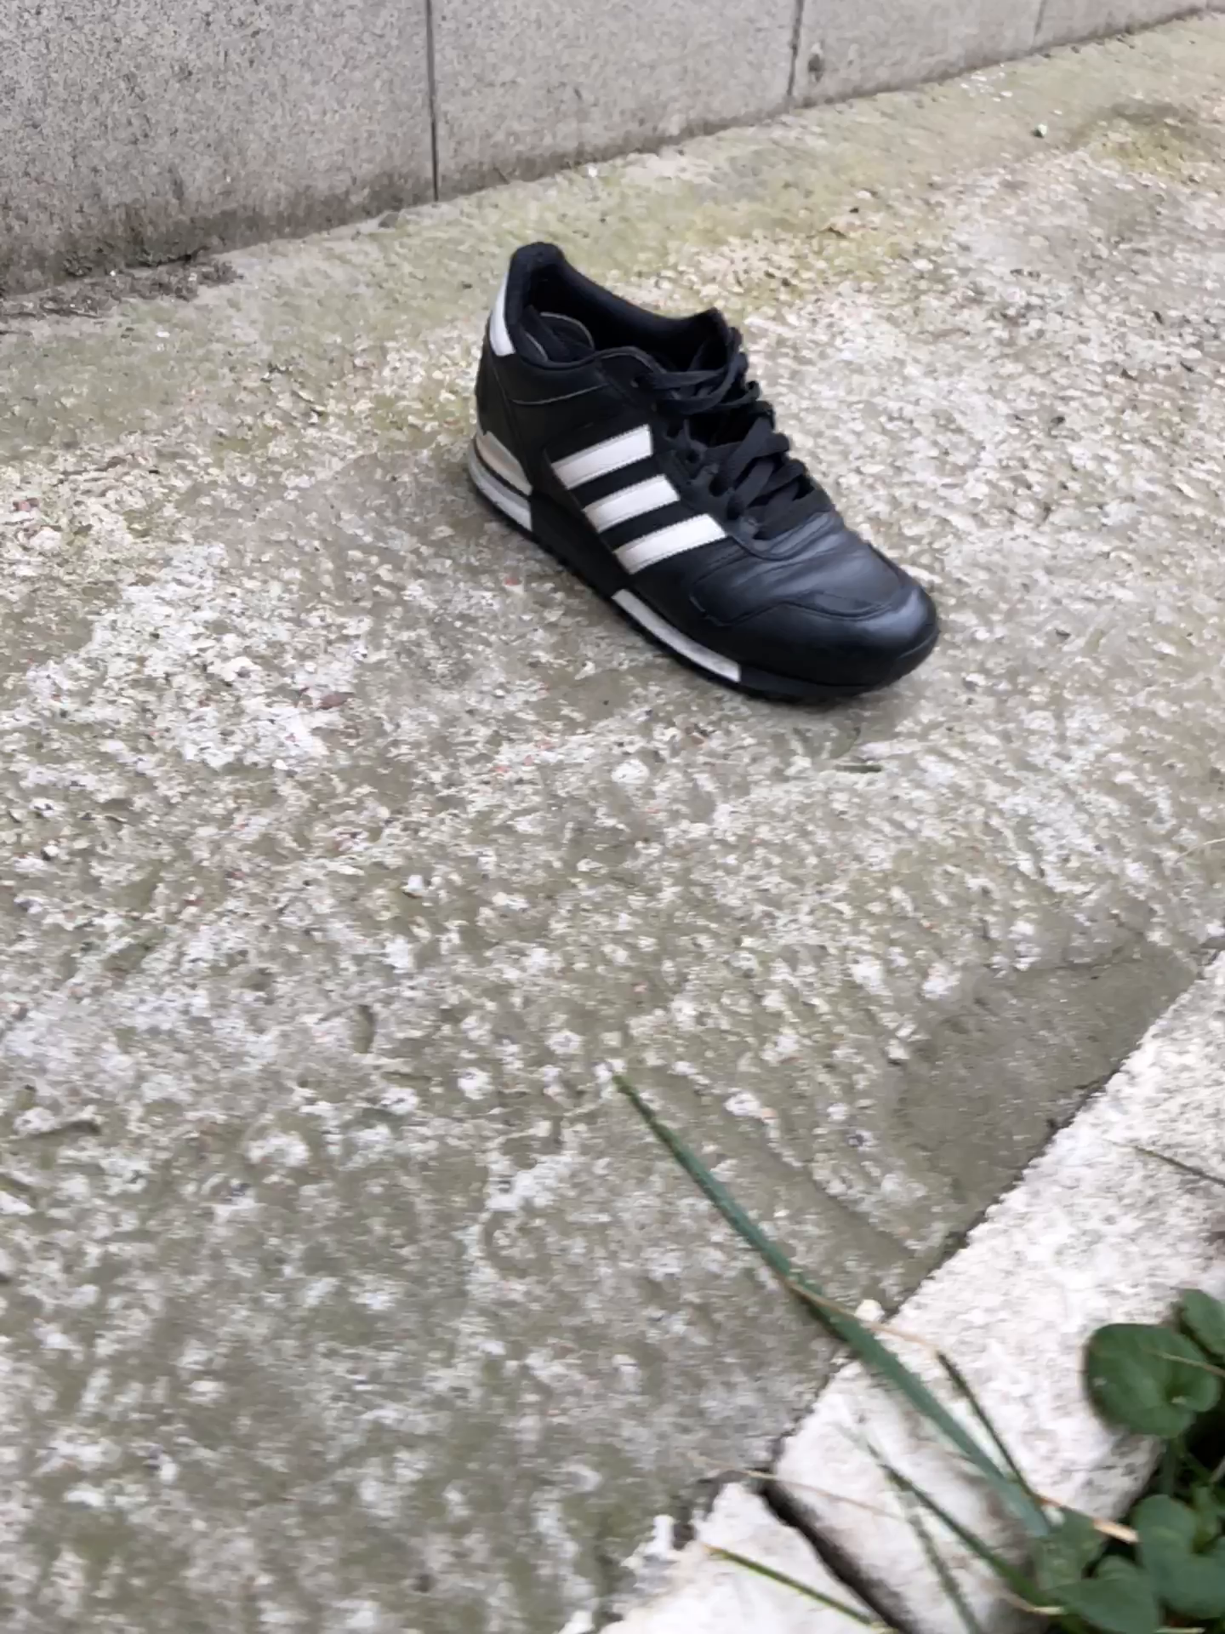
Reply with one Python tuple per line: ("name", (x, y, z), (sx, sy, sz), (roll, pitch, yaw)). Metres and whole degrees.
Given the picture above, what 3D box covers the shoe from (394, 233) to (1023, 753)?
("shoe", (0.030, -0.164, 0.637), (0.281, 0.119, 0.100), (34, 49, 28))
